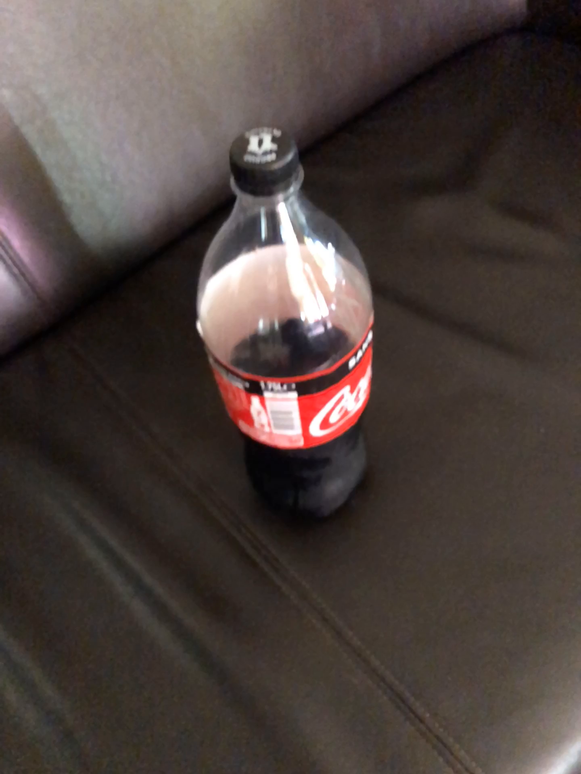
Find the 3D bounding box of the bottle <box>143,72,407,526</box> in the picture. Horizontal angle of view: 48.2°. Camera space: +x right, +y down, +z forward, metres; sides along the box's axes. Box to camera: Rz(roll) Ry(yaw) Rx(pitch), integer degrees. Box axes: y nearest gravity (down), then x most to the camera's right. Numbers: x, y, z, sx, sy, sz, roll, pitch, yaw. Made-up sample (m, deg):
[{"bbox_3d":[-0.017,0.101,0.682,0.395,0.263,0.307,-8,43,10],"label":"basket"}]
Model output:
[{"bbox_3d":[0.006,-0.018,0.406,0.100,0.319,0.100,-2,59,3],"label":"bottle"}]
